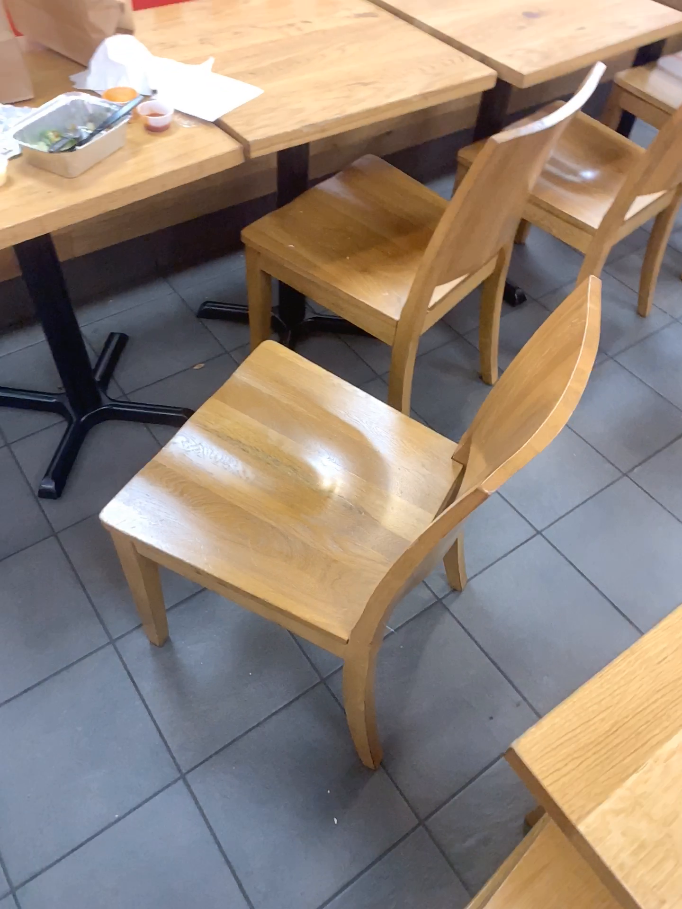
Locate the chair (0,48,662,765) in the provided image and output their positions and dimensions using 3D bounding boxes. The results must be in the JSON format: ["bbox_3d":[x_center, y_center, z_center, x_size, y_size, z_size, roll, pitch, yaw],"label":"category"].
[{"bbox_3d":[-0.041,-0.005,1.128,0.611,0.892,0.514,27,54,12],"label":"chair"}]
